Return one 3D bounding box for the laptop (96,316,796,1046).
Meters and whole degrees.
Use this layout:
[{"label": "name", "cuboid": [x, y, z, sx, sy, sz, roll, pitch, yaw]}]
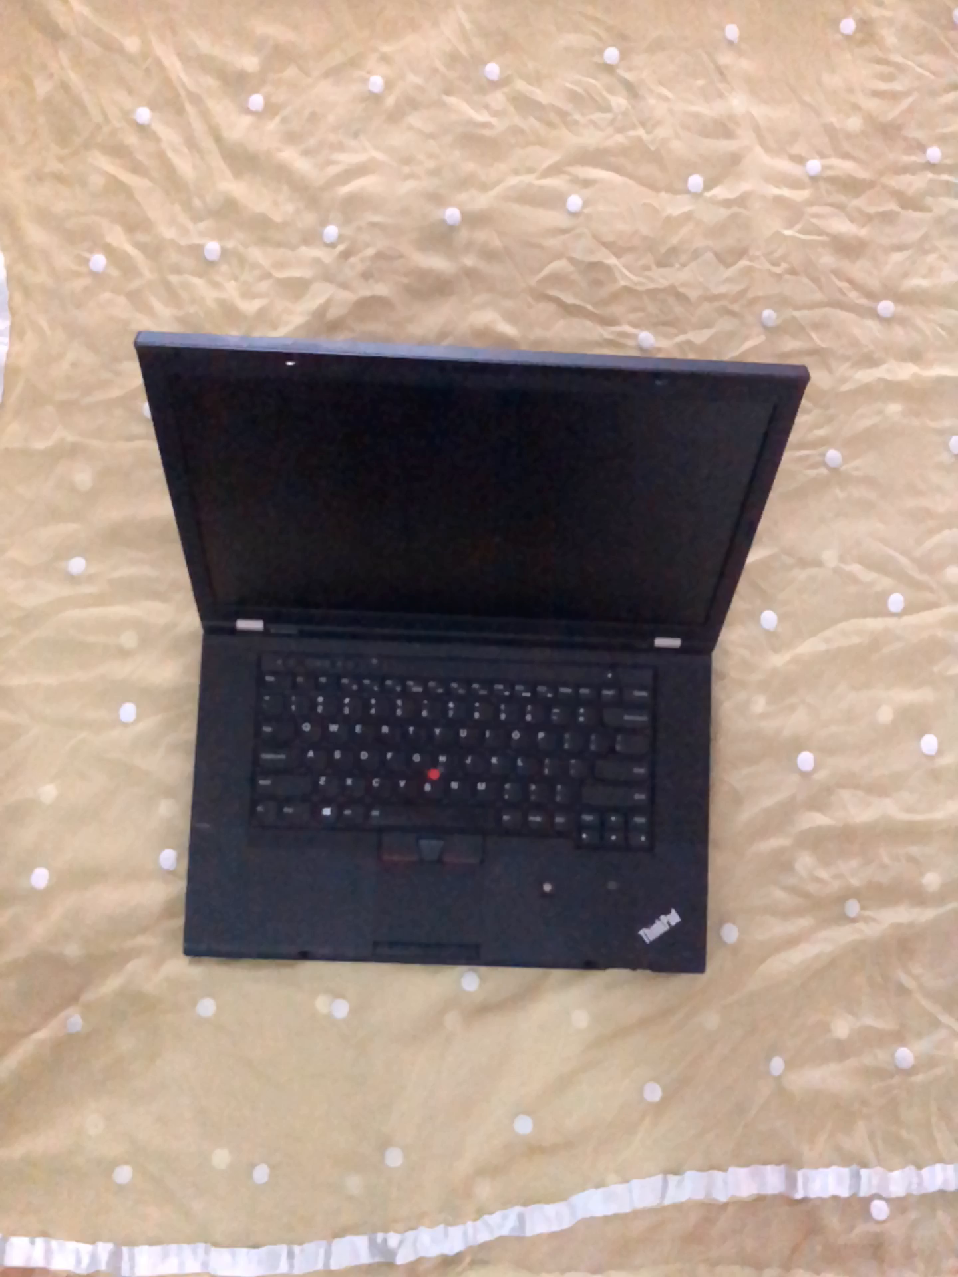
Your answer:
[{"label": "laptop", "cuboid": [-0.017, 0.032, 0.667, 0.363, 0.192, 0.380, 2, 88, -2]}]
